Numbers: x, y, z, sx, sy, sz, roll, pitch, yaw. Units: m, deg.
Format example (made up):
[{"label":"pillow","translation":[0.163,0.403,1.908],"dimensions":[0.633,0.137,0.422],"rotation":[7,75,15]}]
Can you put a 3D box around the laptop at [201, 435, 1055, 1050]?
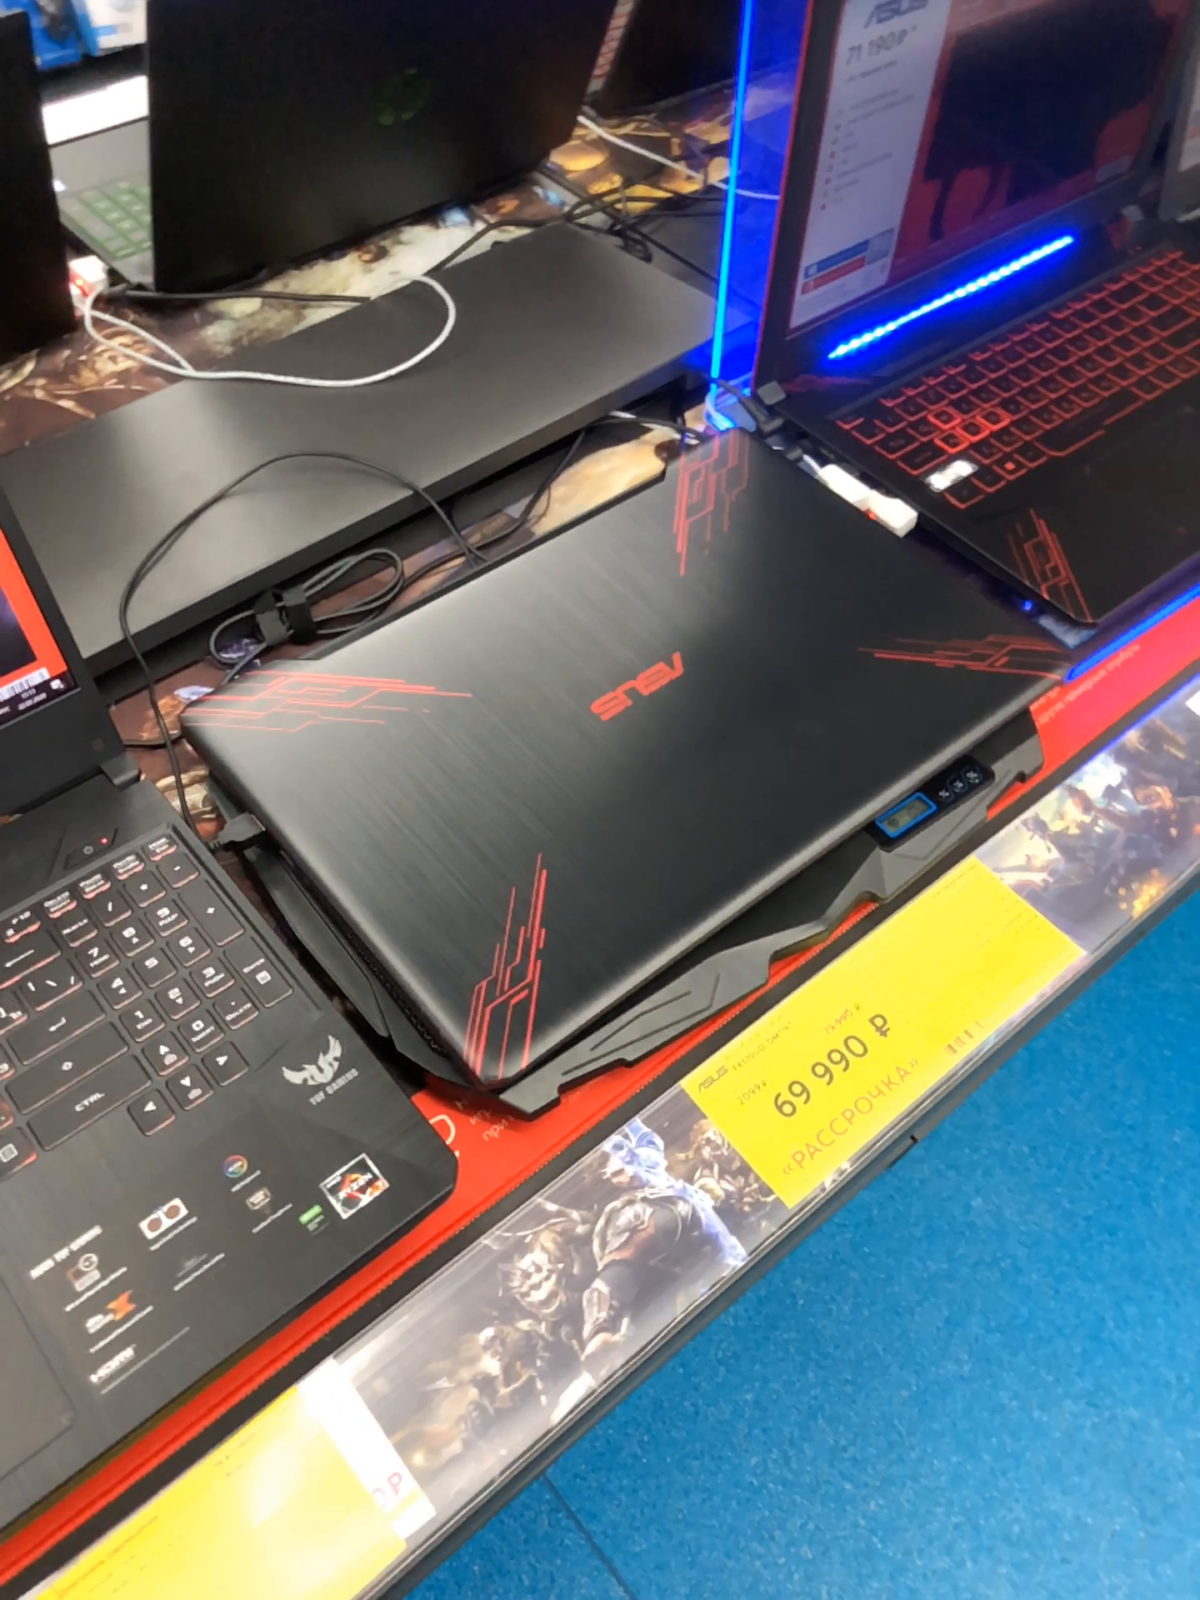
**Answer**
[{"label":"laptop","translation":[0.018,-0.059,0.663],"dimensions":[0.358,0.003,0.239],"rotation":[-32,58,-23]}]
